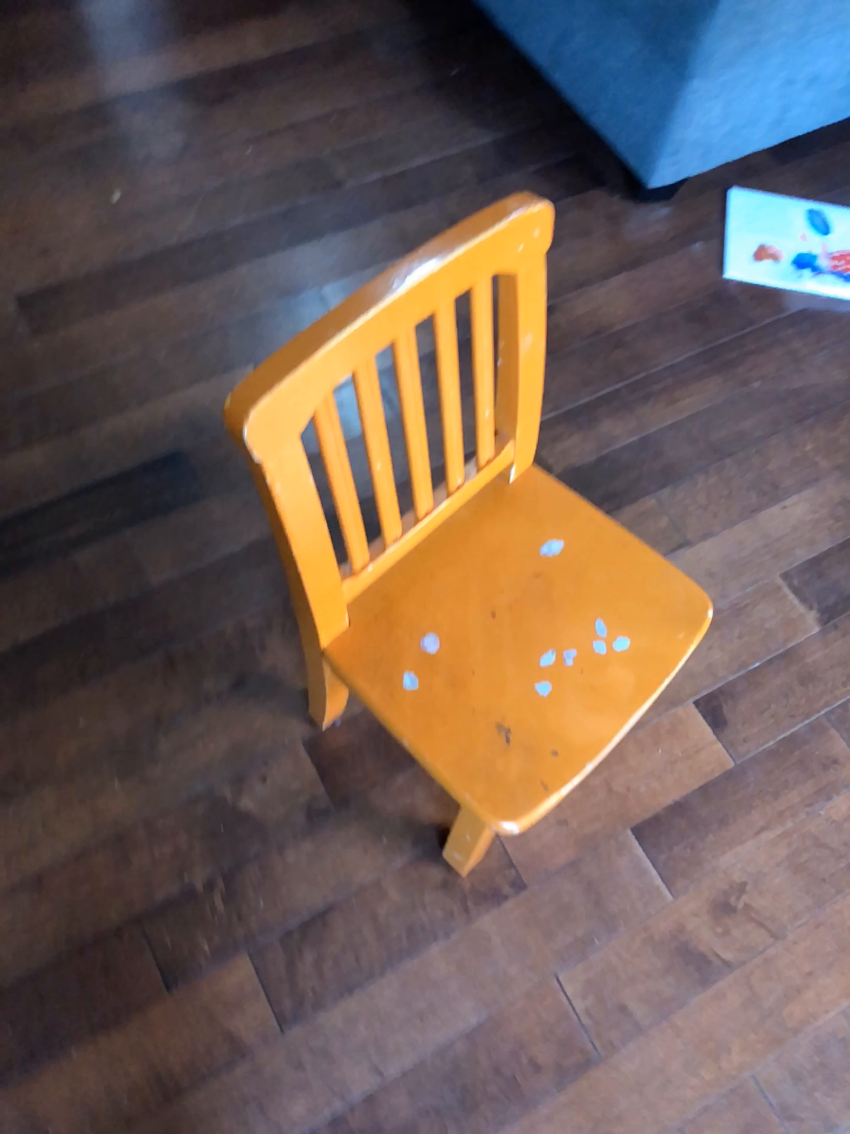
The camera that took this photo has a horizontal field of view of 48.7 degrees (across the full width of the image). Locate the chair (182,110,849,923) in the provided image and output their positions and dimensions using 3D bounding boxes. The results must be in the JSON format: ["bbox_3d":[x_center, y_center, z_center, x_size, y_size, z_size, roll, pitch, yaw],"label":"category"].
[{"bbox_3d":[0.084,0.012,0.837,0.360,0.569,0.350,-40,71,-22],"label":"chair"}]
